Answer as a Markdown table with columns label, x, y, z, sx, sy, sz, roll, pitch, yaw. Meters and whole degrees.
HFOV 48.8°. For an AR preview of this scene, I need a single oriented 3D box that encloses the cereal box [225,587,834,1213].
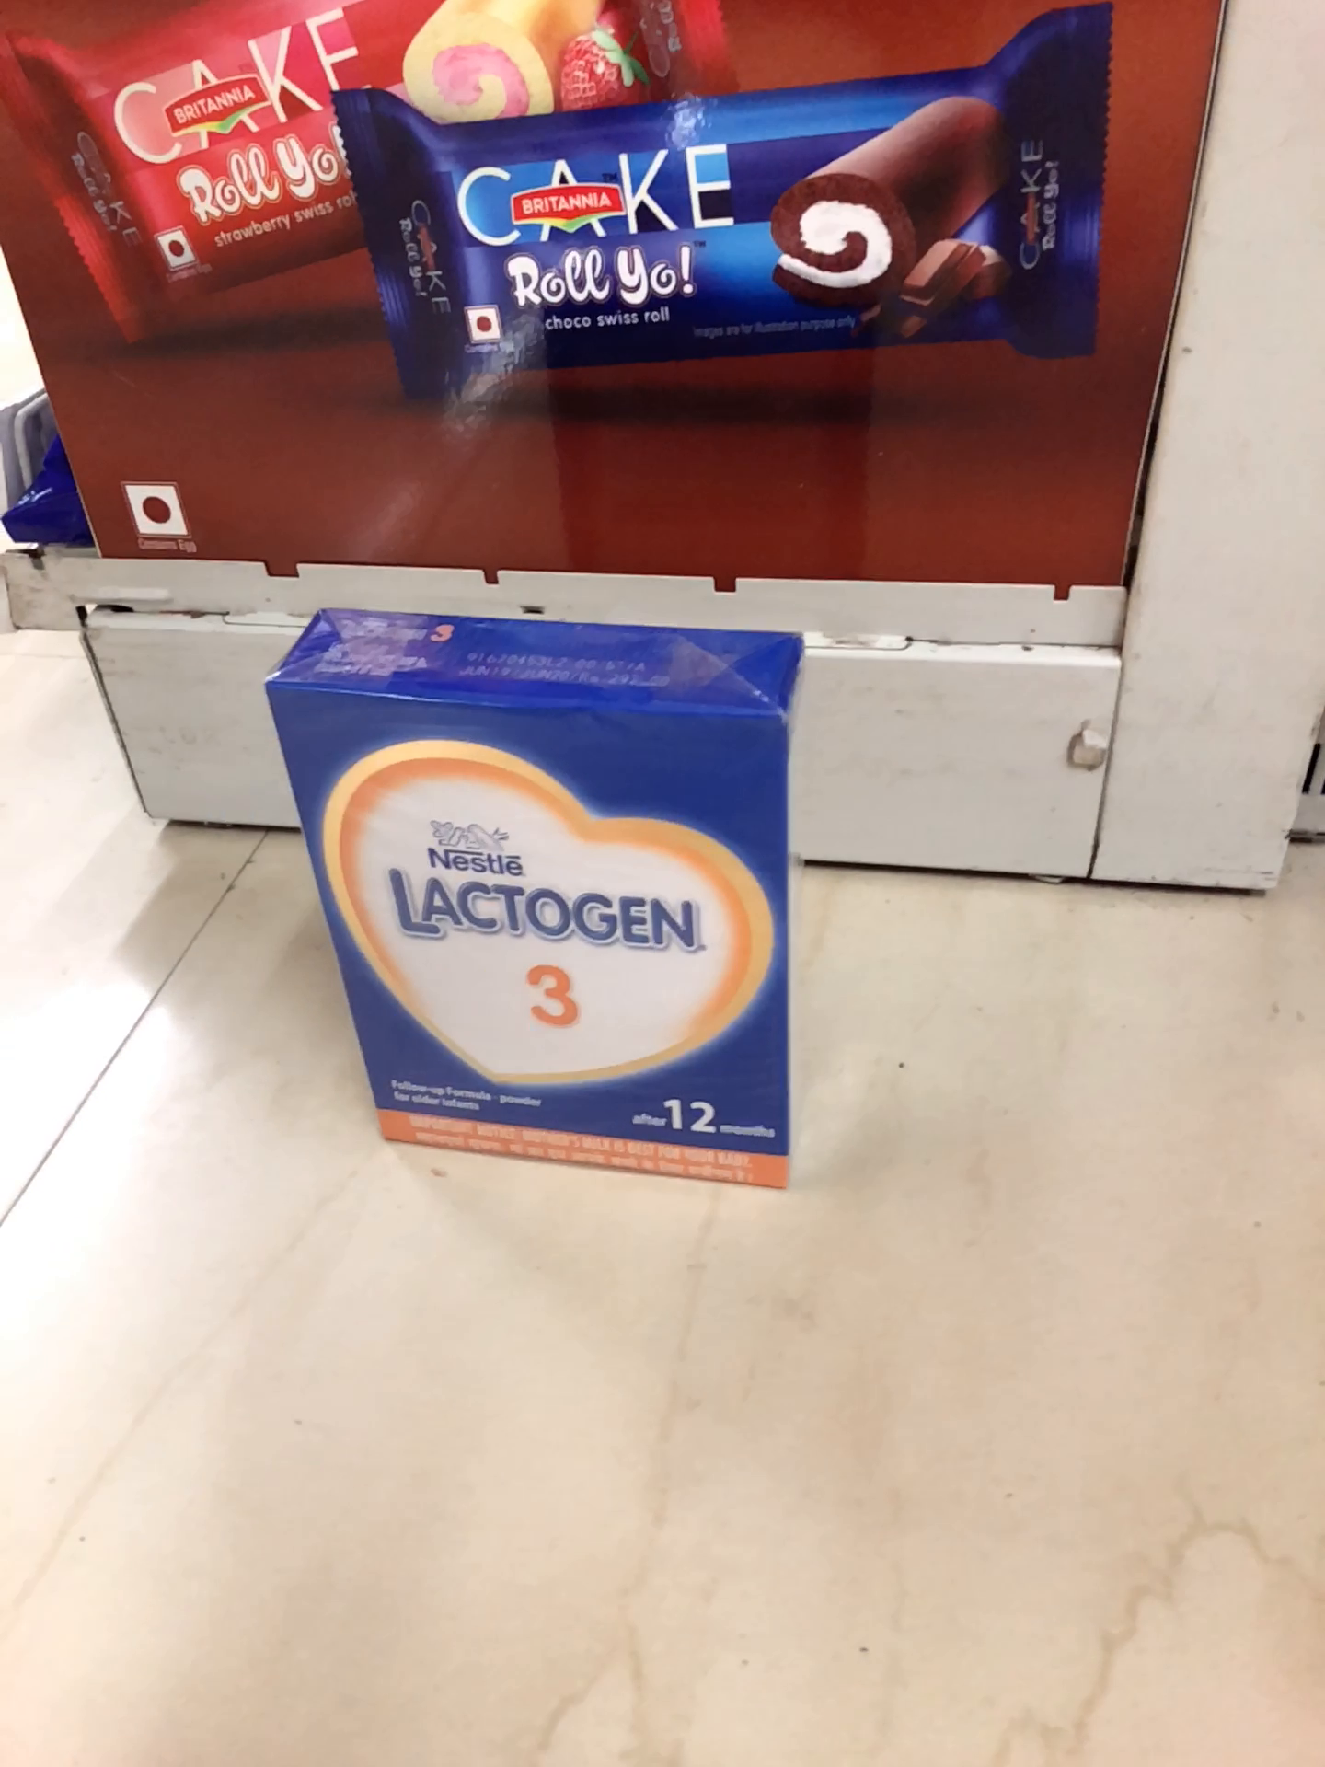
| label | x | y | z | sx | sy | sz | roll | pitch | yaw |
| --- | --- | --- | --- | --- | --- | --- | --- | --- | --- |
| cereal box | -0.030 | 0.009 | 0.465 | 0.160 | 0.189 | 0.060 | 5 | 39 | 12 |
